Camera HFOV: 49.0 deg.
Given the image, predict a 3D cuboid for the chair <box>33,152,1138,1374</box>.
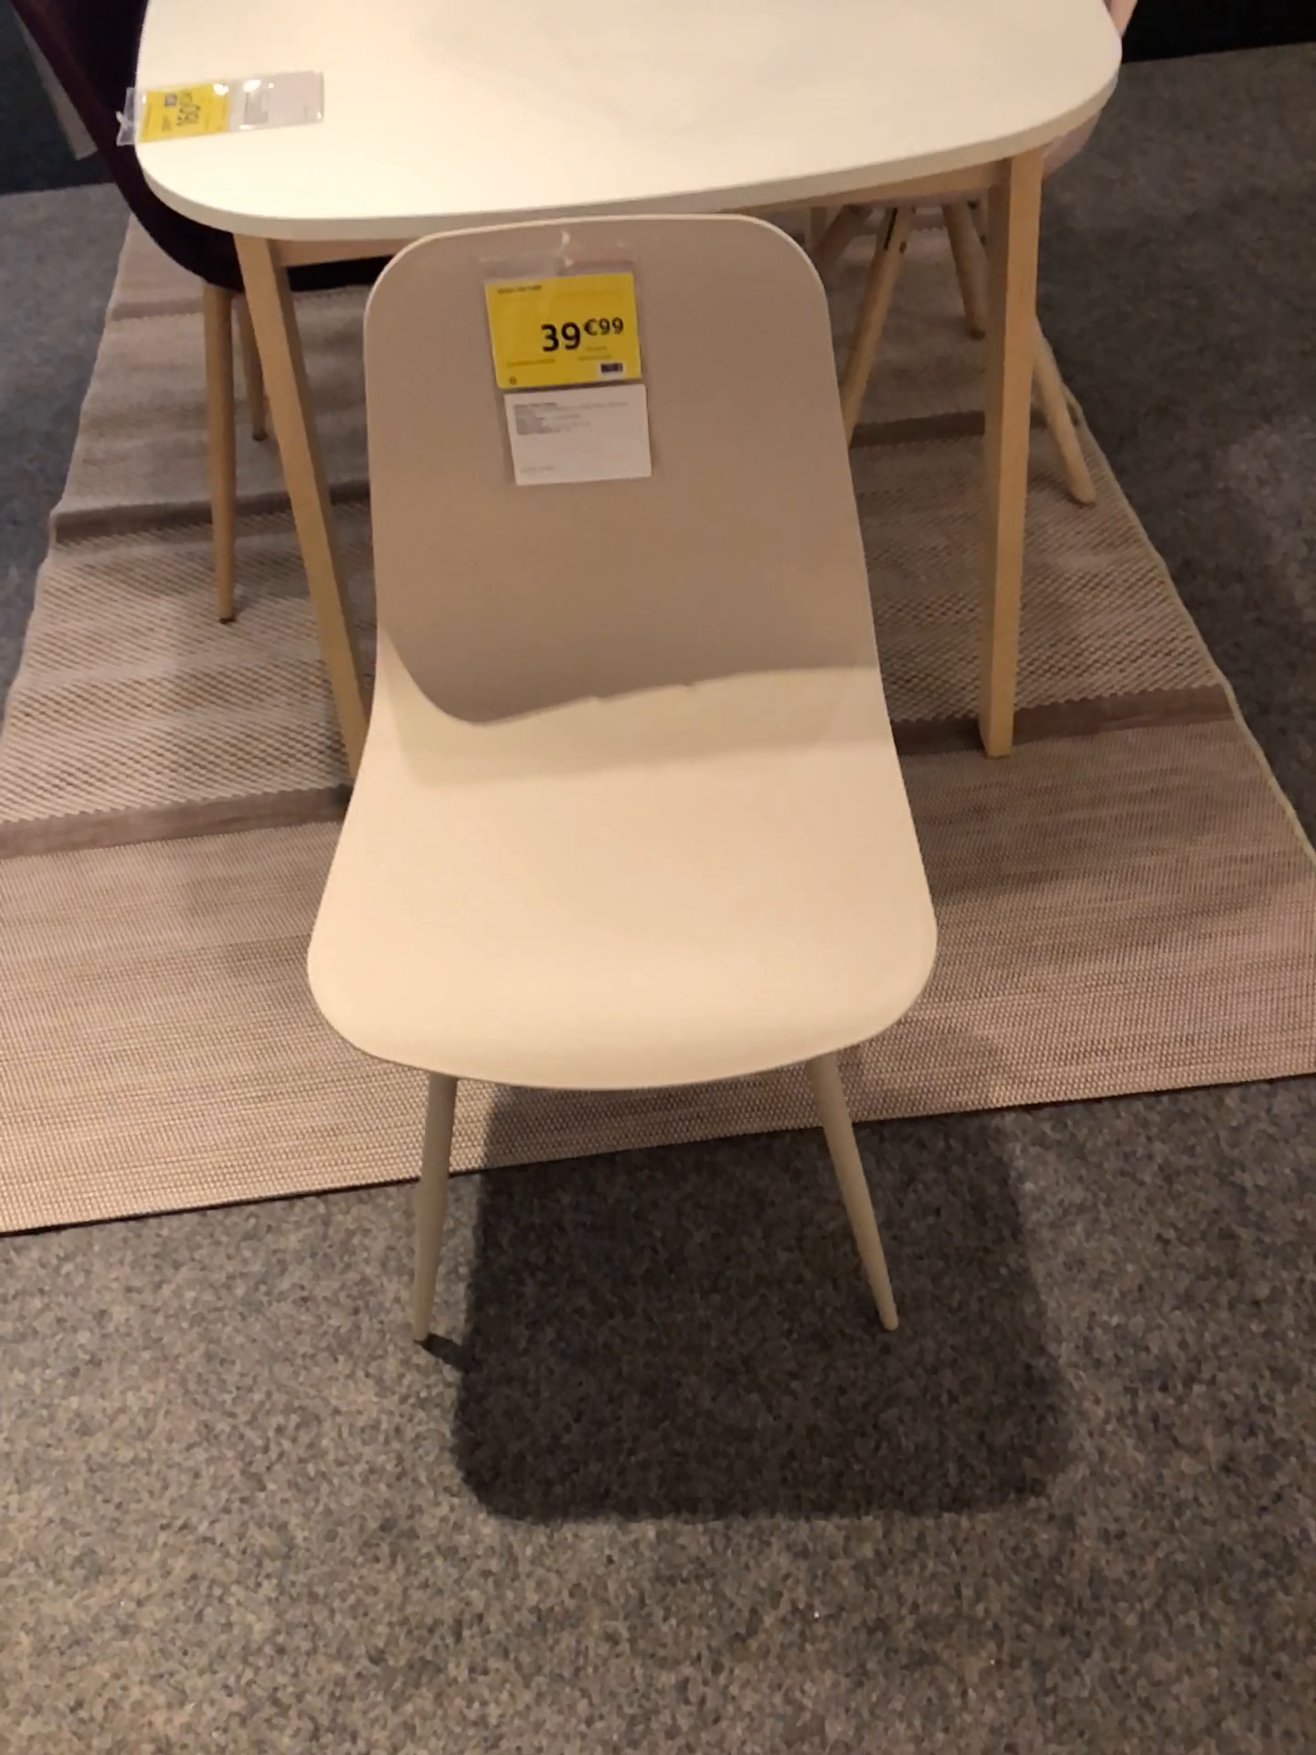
[{"bbox_3d":[-0.024,-0.032,1.106,0.500,0.766,0.502,-5,50,1],"label":"chair"}]
